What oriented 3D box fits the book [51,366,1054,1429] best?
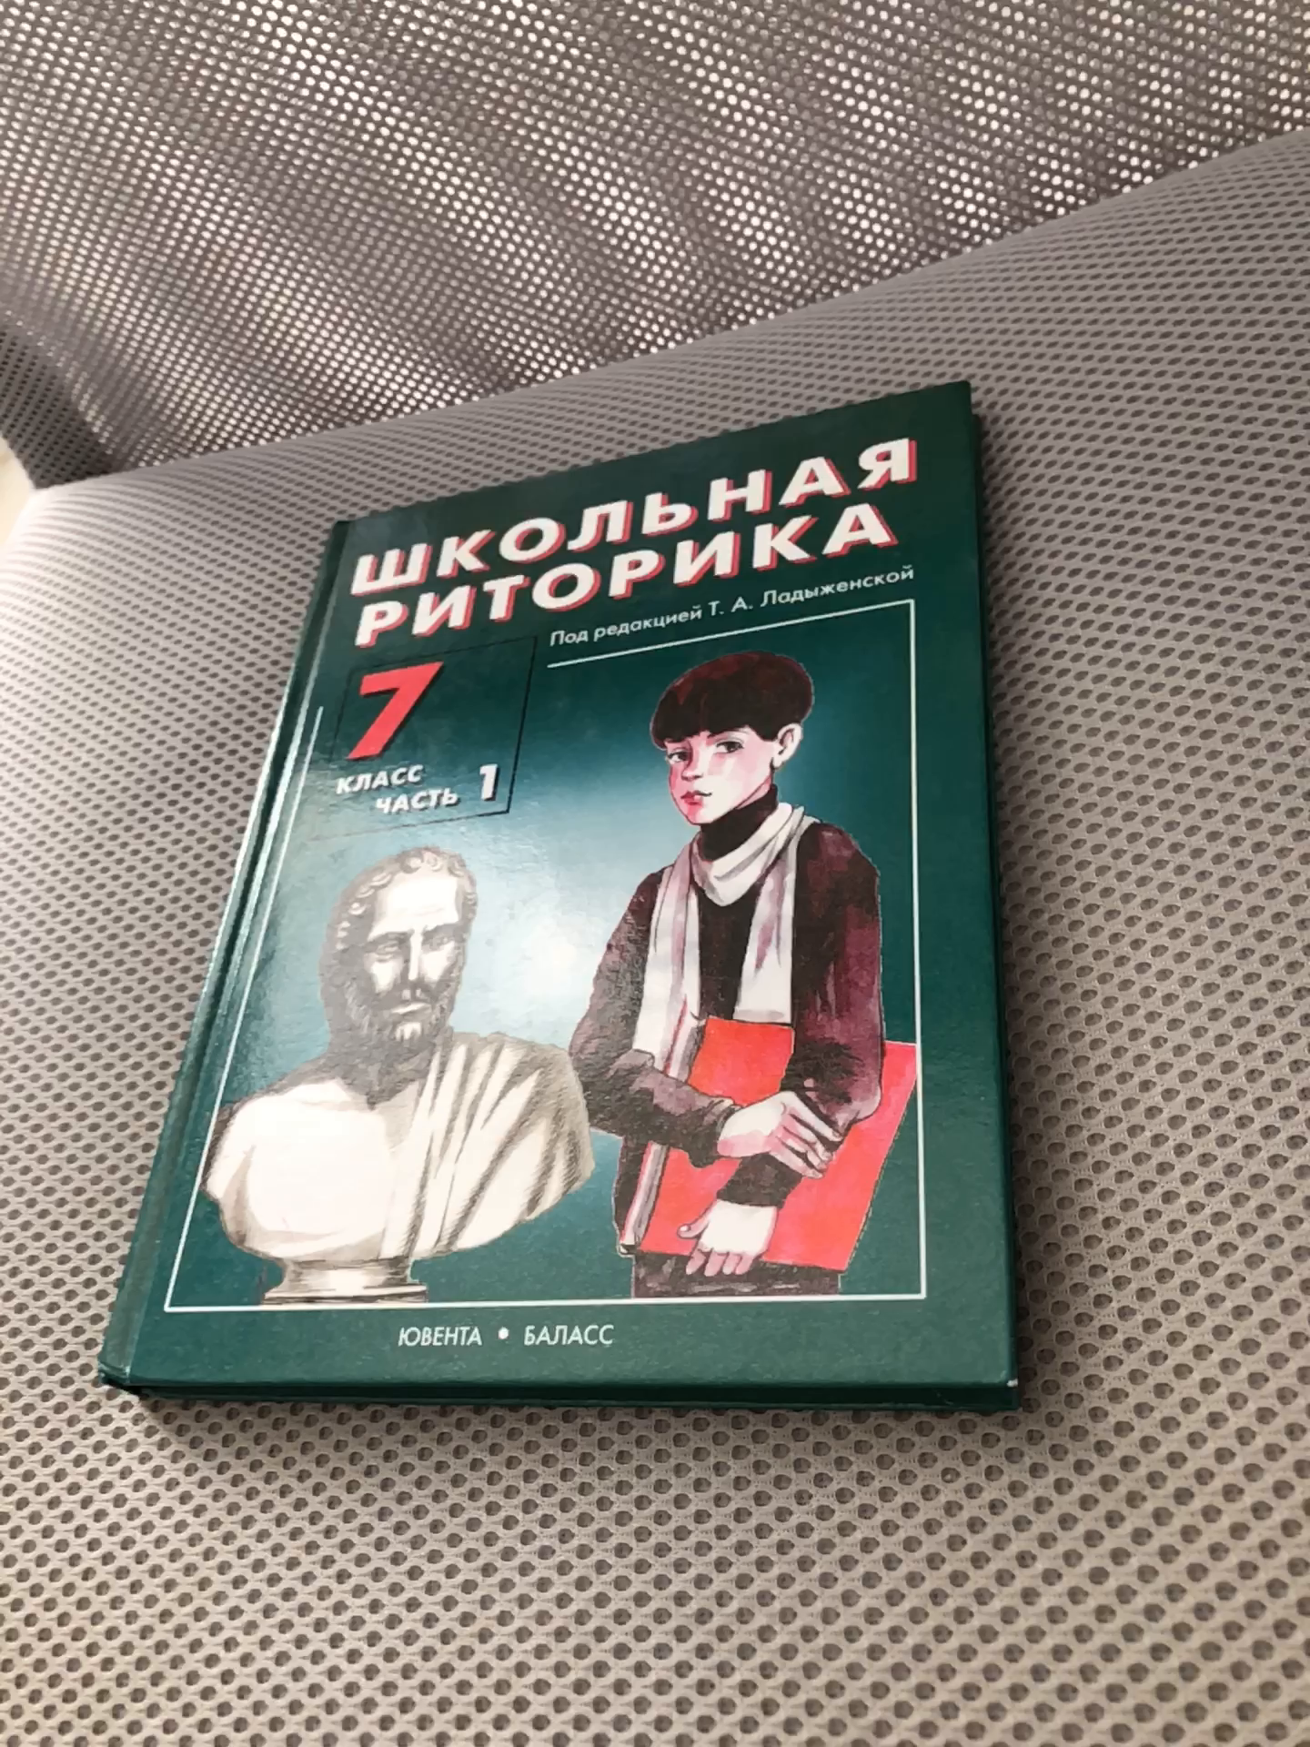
[{"bbox_3d":[-0.014,-0.002,0.294,0.167,0.030,0.211,-7,56,19],"label":"book"}]
